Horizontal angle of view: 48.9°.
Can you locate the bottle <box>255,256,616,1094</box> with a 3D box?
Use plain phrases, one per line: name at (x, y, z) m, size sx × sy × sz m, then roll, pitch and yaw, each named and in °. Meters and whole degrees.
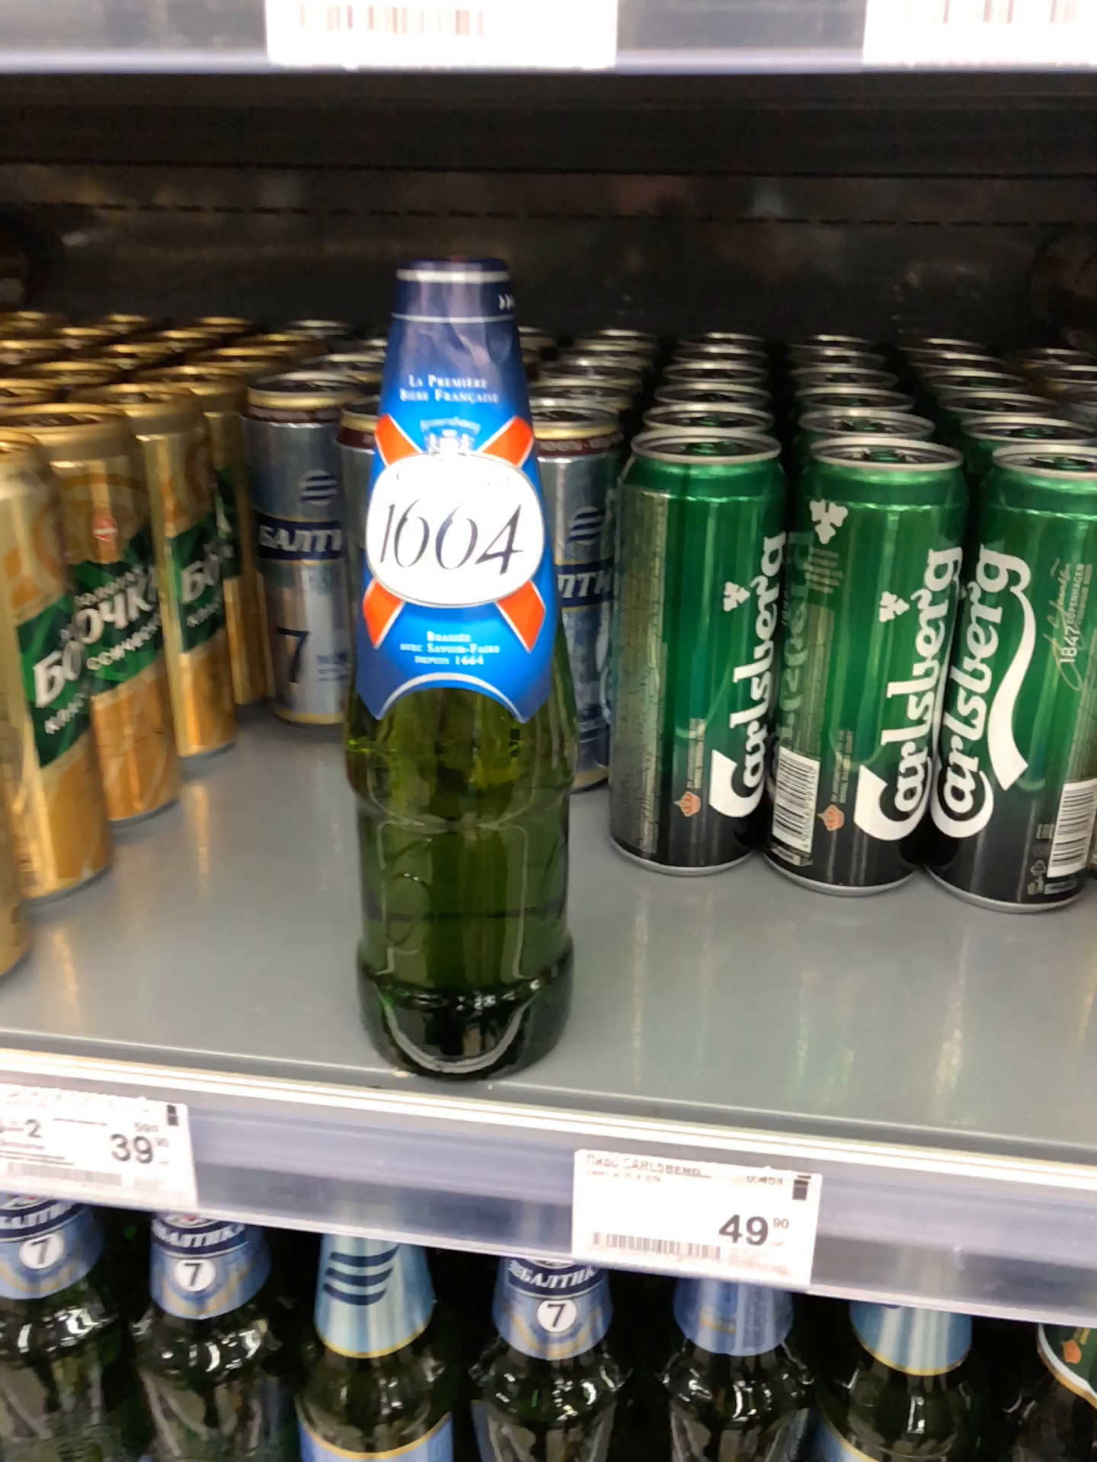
bottle at (-0.026, -0.014, 0.356) m, size 0.080 × 0.229 × 0.080 m, roll 1°, pitch 24°, yaw 0°
